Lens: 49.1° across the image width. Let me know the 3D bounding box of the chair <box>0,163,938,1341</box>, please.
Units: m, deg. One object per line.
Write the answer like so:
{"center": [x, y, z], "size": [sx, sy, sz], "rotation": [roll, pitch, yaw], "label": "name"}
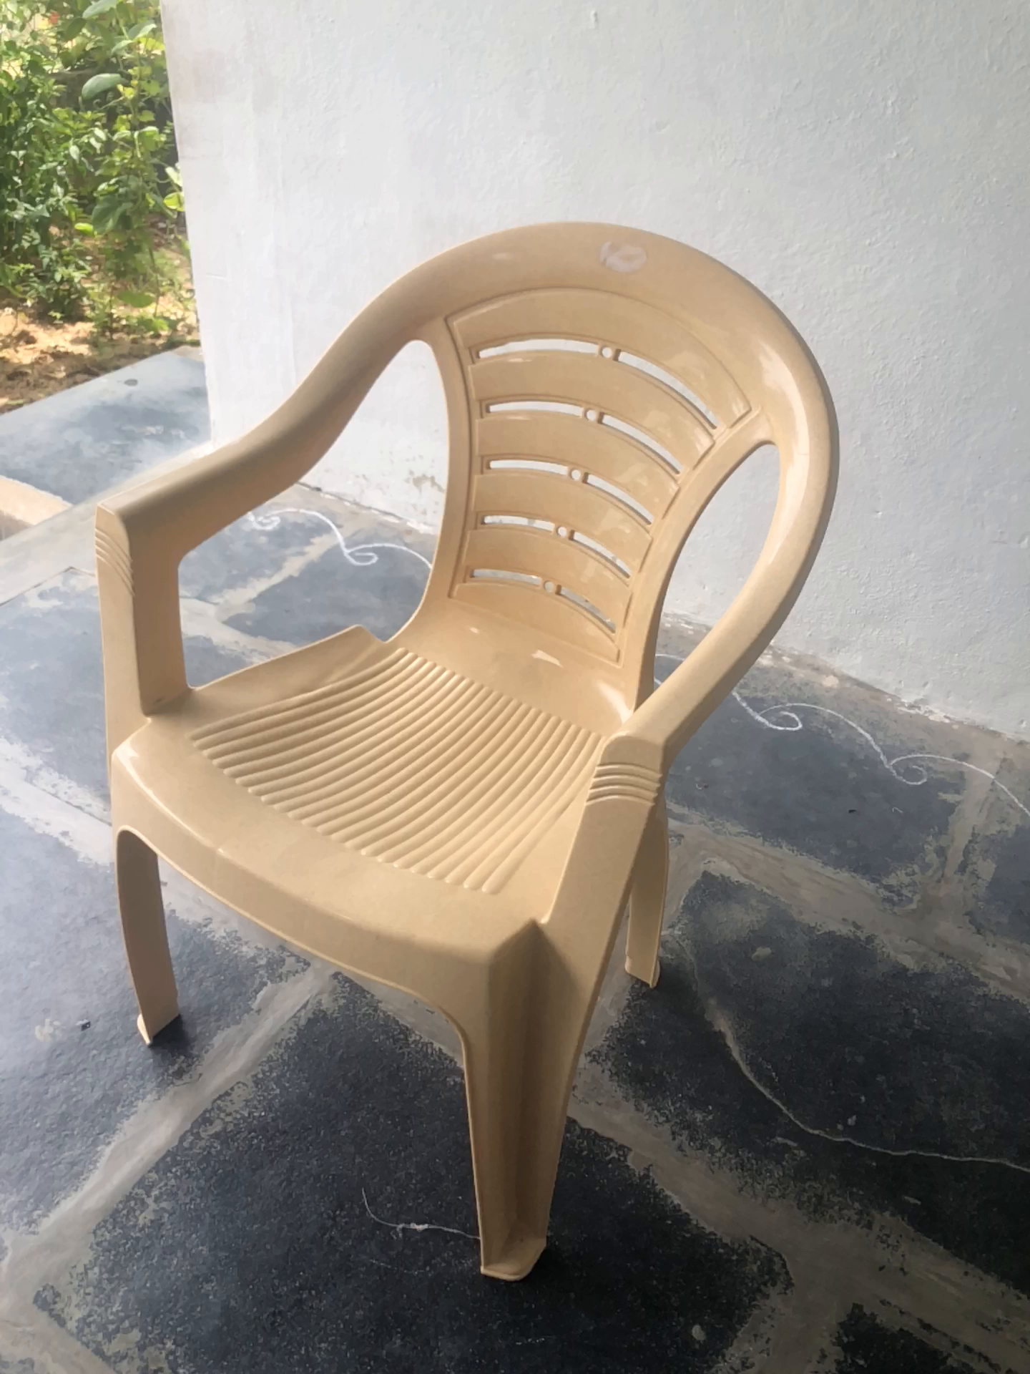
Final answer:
{"center": [-0.071, 0.000, 1.088], "size": [0.620, 0.736, 0.654], "rotation": [20, 40, 20], "label": "chair"}
